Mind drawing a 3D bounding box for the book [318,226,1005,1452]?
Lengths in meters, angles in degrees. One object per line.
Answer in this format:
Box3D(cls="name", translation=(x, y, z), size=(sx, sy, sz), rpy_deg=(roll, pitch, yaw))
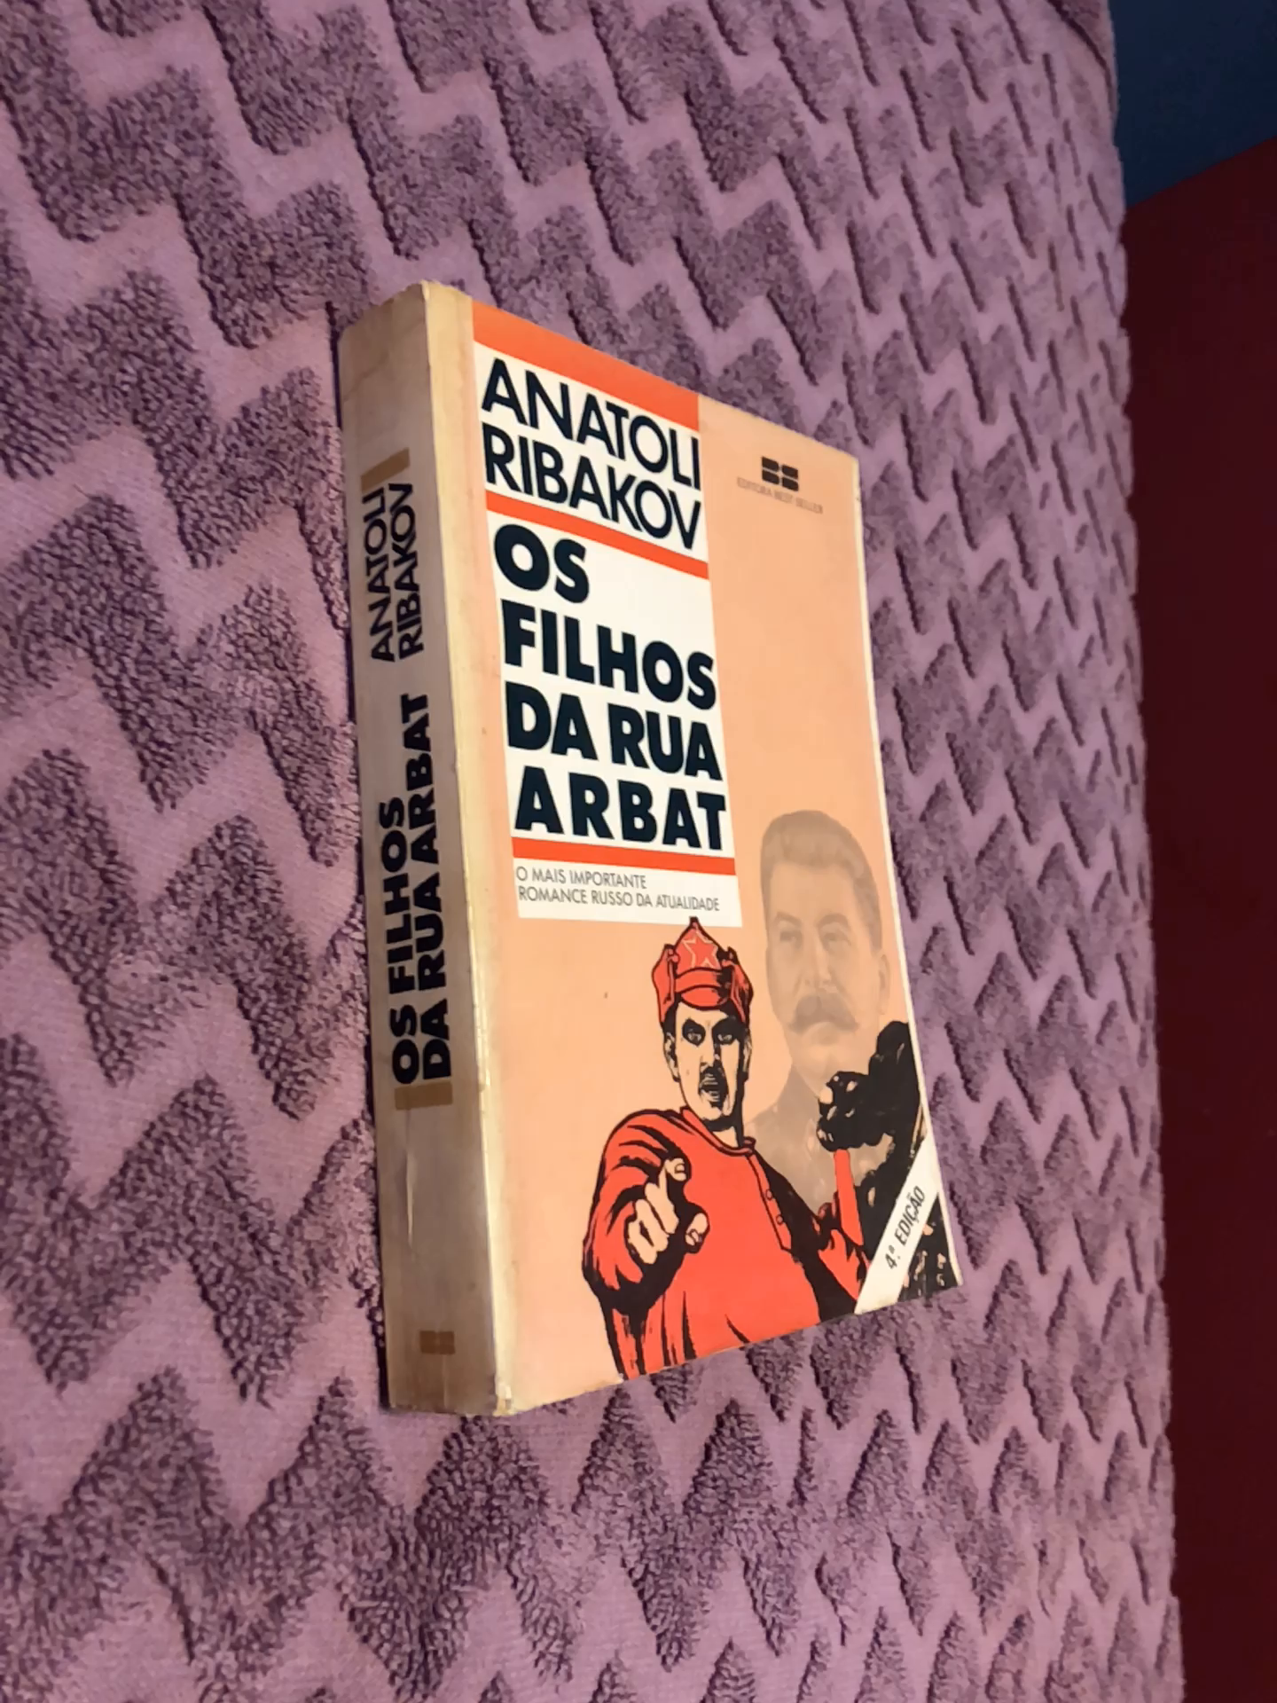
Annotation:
Box3D(cls="book", translation=(0.011, -0.001, 0.282), size=(0.141, 0.040, 0.190), rpy_deg=(4, 79, -47))
